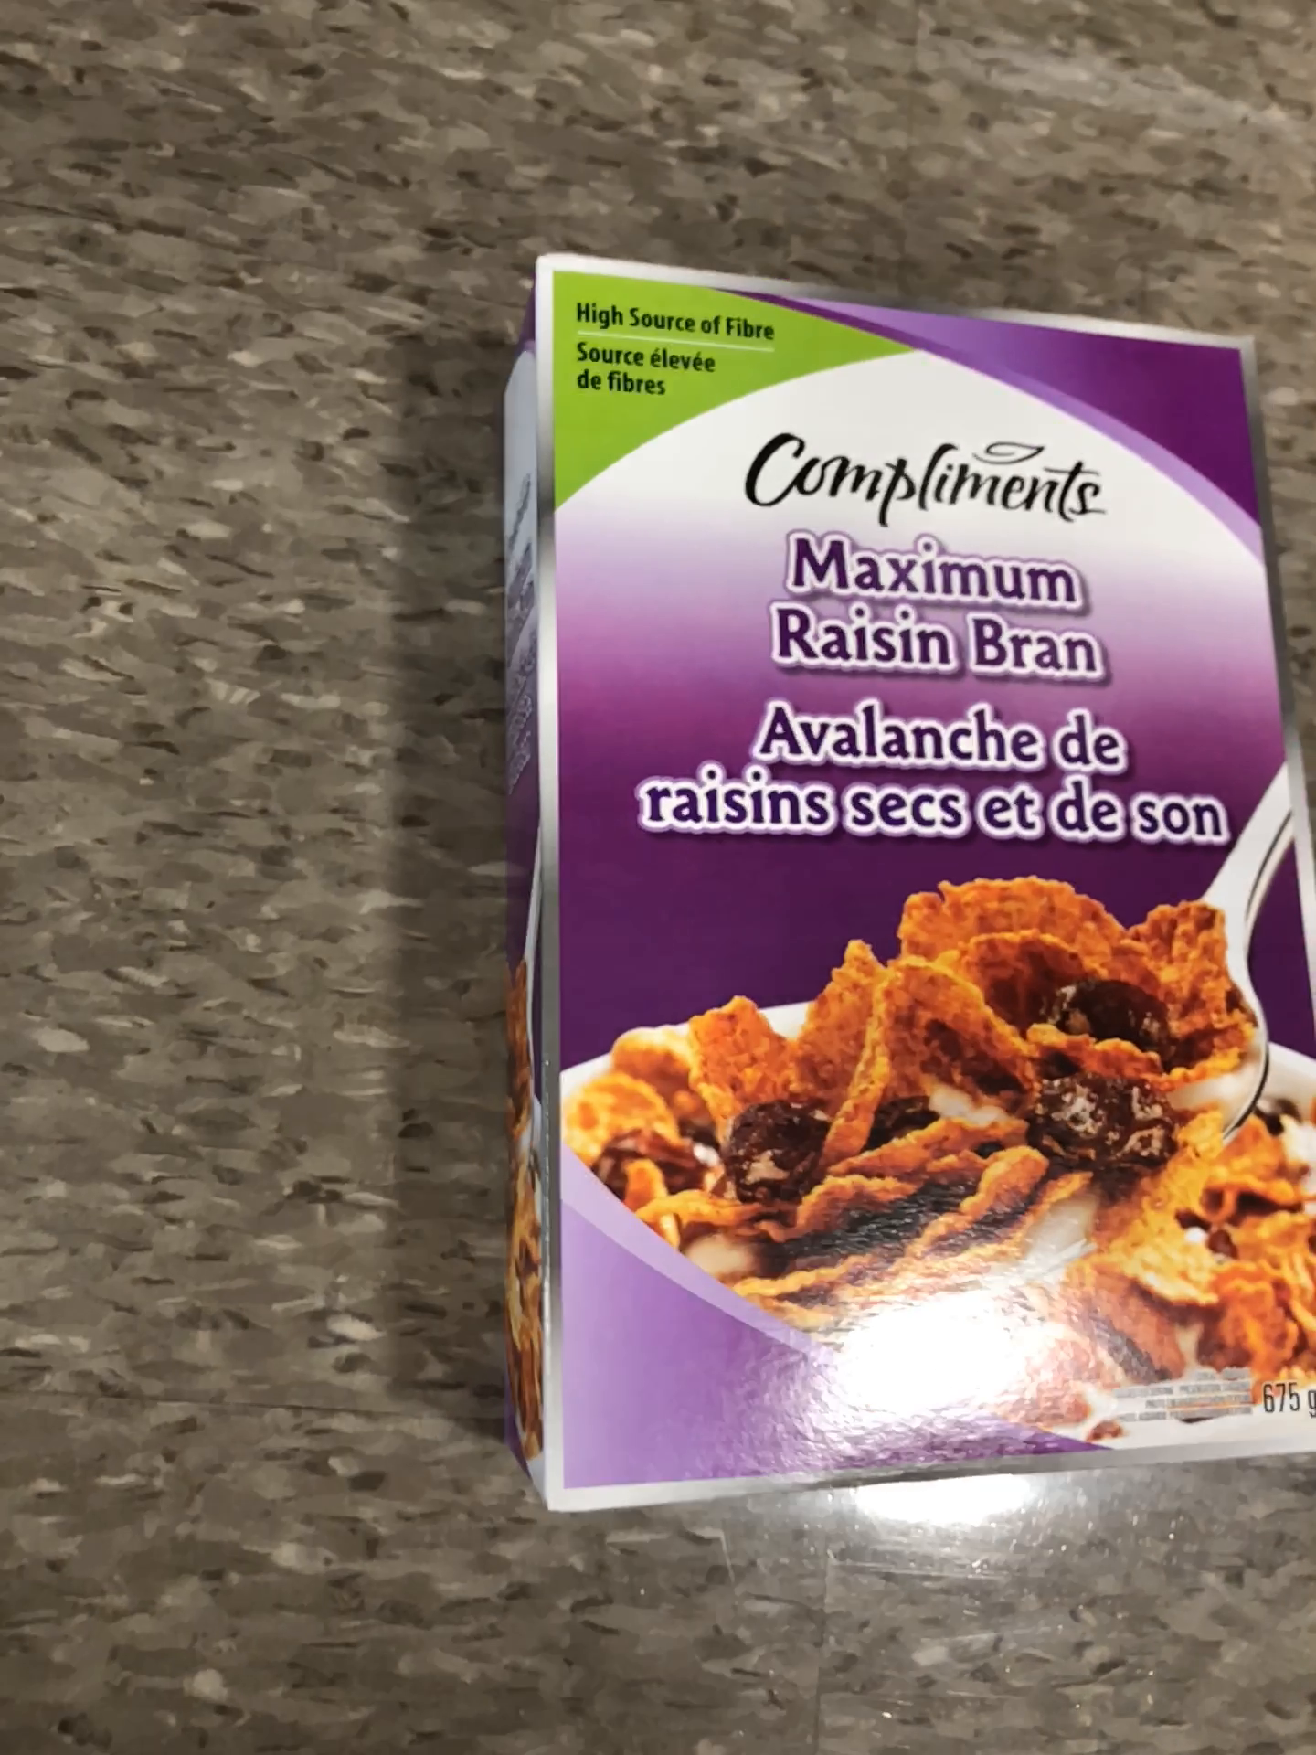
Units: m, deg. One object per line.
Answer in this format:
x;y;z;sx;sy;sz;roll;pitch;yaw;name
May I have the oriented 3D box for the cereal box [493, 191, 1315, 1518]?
0.066;-0.007;0.387;0.200;0.070;0.310;4;77;-12;cereal box
